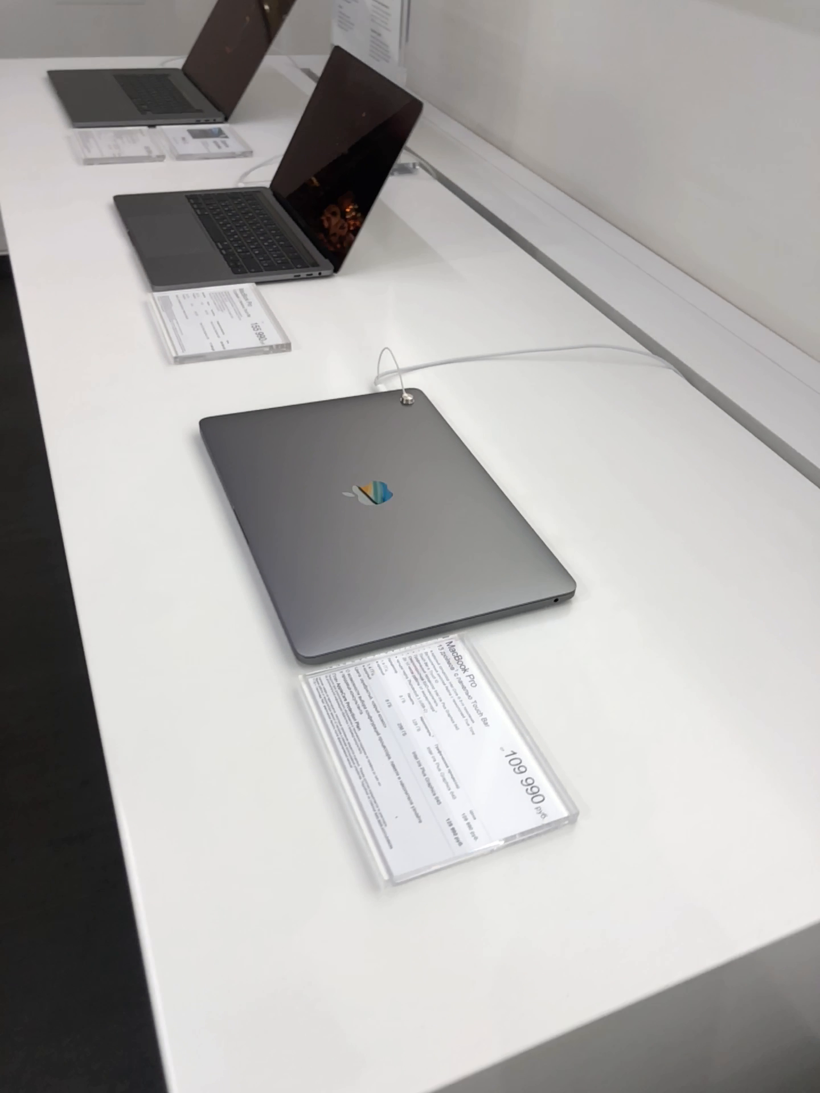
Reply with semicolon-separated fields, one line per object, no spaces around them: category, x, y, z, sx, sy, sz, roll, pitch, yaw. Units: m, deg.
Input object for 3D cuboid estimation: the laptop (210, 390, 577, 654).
laptop;-0.028;-0.039;0.713;0.198;0.001;0.294;-12;42;-19
